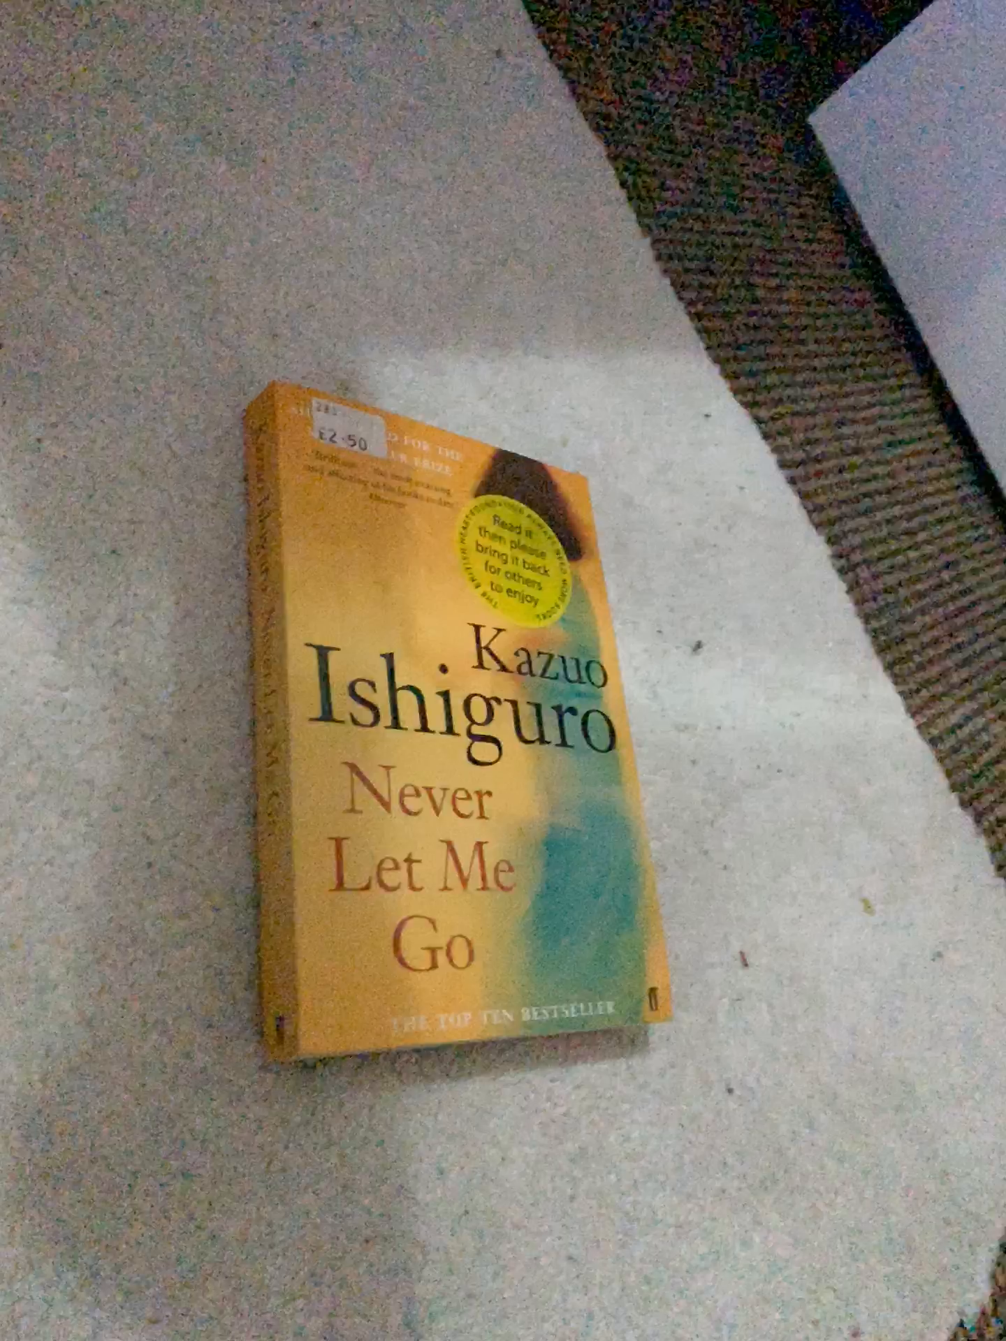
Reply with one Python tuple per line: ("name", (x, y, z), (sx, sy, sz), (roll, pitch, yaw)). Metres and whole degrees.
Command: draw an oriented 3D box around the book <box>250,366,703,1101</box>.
("book", (-0.009, 0.016, 0.331), (0.140, 0.020, 0.211), (10, 64, -36))
